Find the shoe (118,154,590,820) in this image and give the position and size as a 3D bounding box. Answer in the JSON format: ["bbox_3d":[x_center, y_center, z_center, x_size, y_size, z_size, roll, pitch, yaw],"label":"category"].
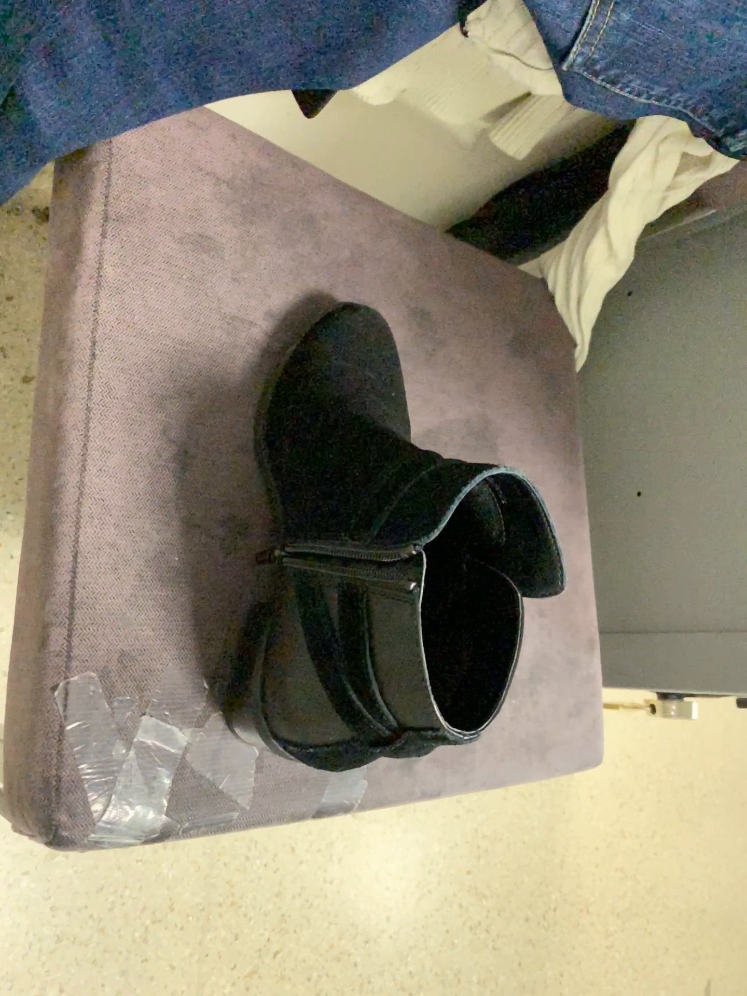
[{"bbox_3d":[0.001,-0.005,0.373,0.105,0.135,0.266,32,61,-34],"label":"shoe"}]
